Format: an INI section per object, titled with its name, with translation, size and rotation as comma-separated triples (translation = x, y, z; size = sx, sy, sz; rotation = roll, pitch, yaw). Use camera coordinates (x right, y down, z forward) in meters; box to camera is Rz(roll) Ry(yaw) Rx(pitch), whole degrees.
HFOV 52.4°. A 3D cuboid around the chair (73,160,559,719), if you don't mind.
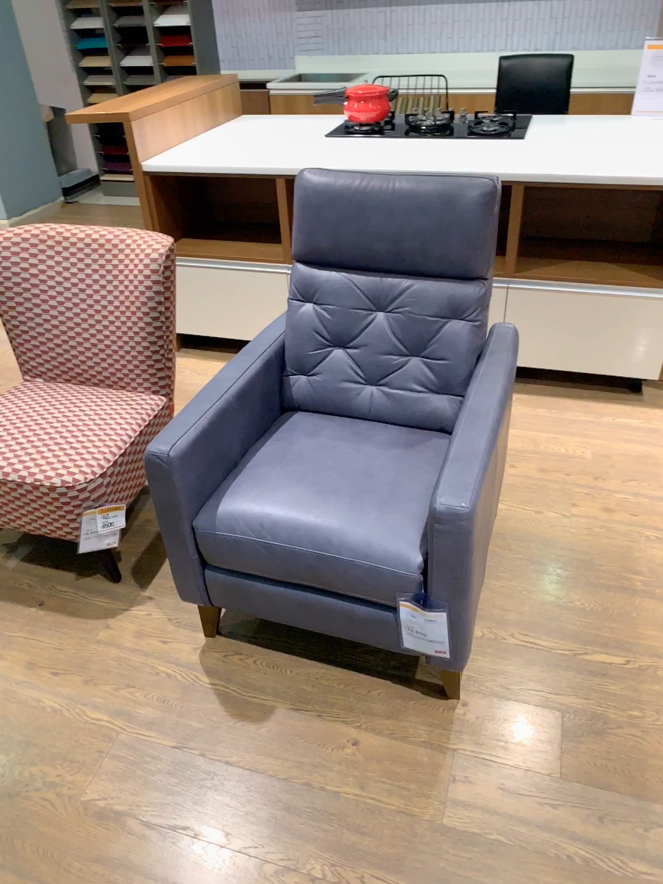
[chair]
translation = 0.070, -0.073, 1.691
size = 0.771, 0.996, 0.853
rotation = 9, 37, 17
